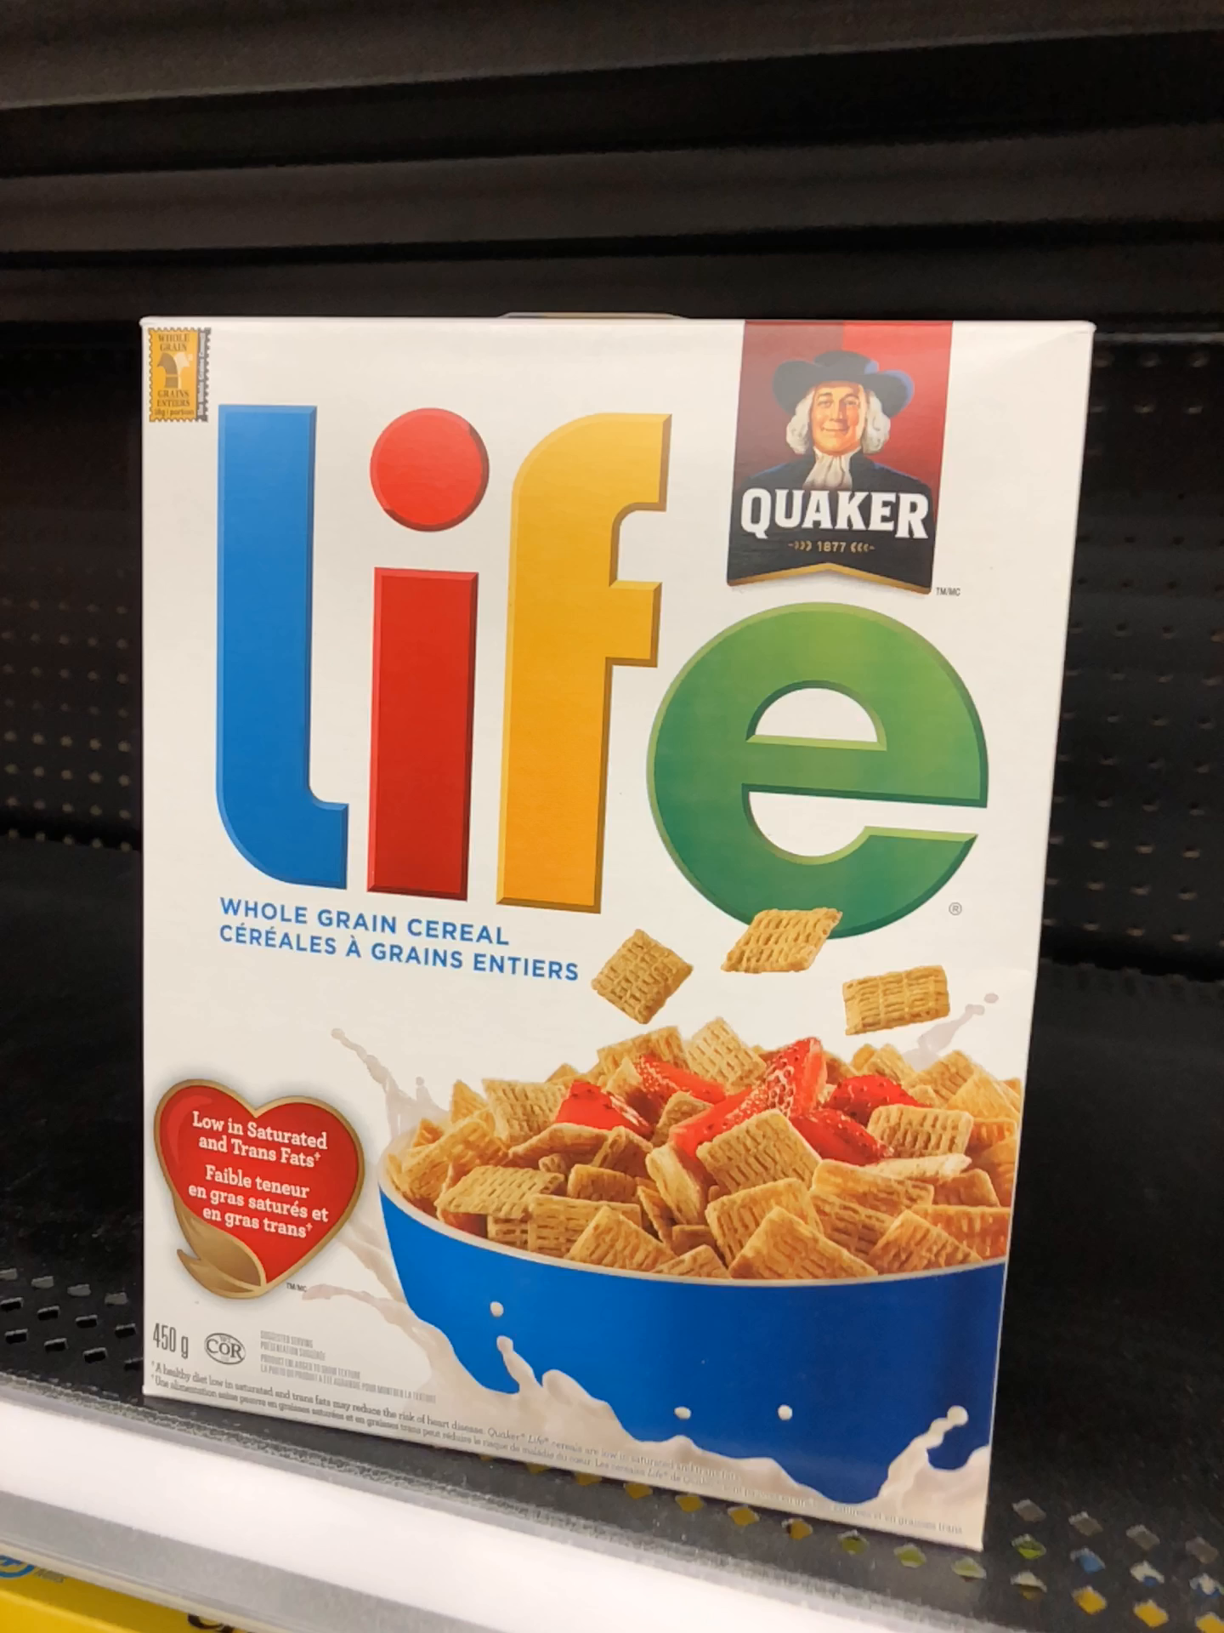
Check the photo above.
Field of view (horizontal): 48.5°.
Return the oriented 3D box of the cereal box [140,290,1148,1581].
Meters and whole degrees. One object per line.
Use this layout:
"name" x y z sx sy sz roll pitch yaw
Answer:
"cereal box" -0.001 0.020 0.314 0.200 0.259 0.060 5 10 12
